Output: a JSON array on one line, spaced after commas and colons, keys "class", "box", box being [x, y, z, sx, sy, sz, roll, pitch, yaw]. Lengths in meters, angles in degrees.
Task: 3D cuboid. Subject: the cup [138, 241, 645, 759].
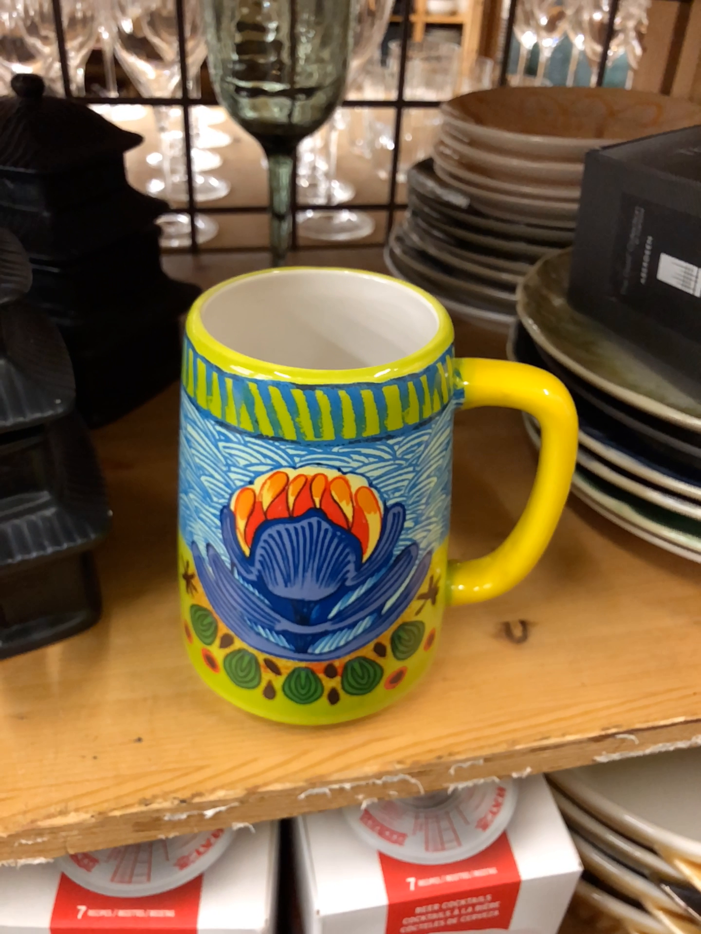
[{"class": "cup", "box": [0.010, 0.009, 0.246, 0.113, 0.125, 0.087, 5, 34, 4]}]
